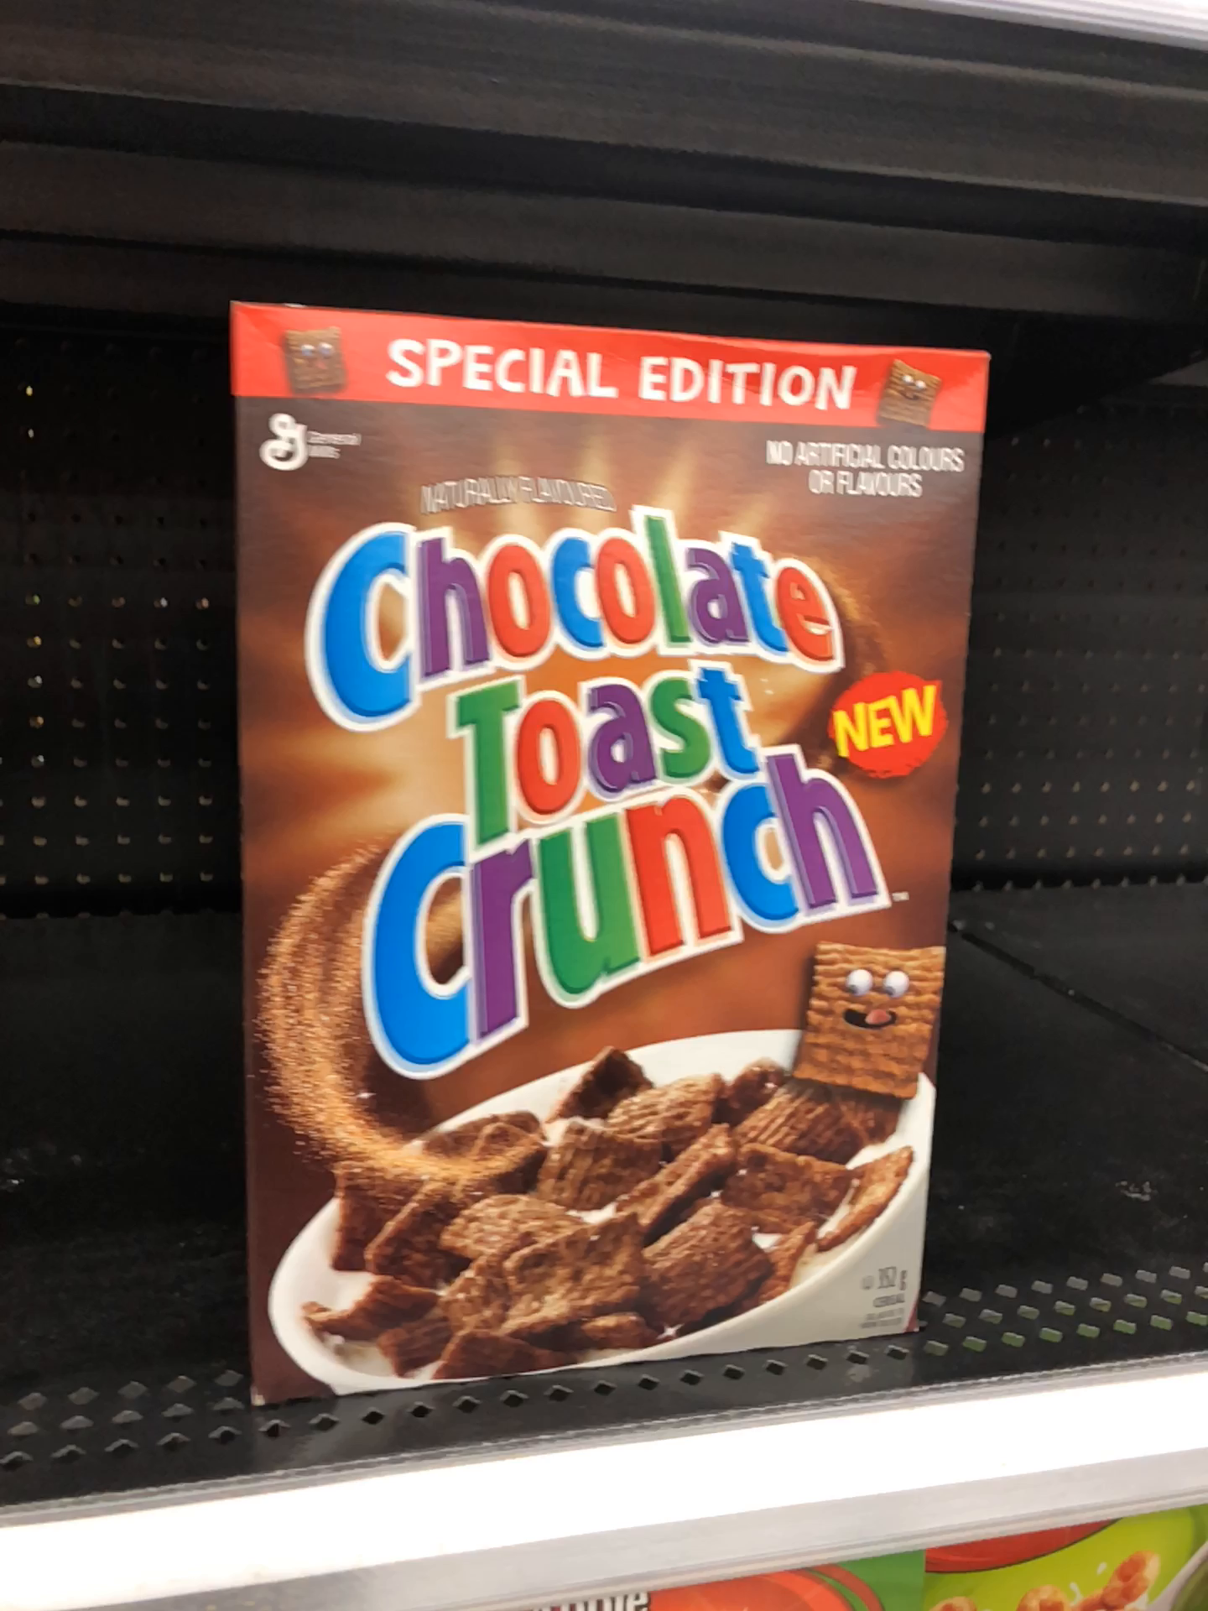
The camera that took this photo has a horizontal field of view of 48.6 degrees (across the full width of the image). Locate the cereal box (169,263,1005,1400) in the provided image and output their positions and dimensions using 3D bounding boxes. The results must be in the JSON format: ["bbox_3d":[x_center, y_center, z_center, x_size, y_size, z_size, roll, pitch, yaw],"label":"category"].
[{"bbox_3d":[-0.006,0.009,0.358,0.200,0.269,0.050,-1,10,-13],"label":"cereal box"}]
